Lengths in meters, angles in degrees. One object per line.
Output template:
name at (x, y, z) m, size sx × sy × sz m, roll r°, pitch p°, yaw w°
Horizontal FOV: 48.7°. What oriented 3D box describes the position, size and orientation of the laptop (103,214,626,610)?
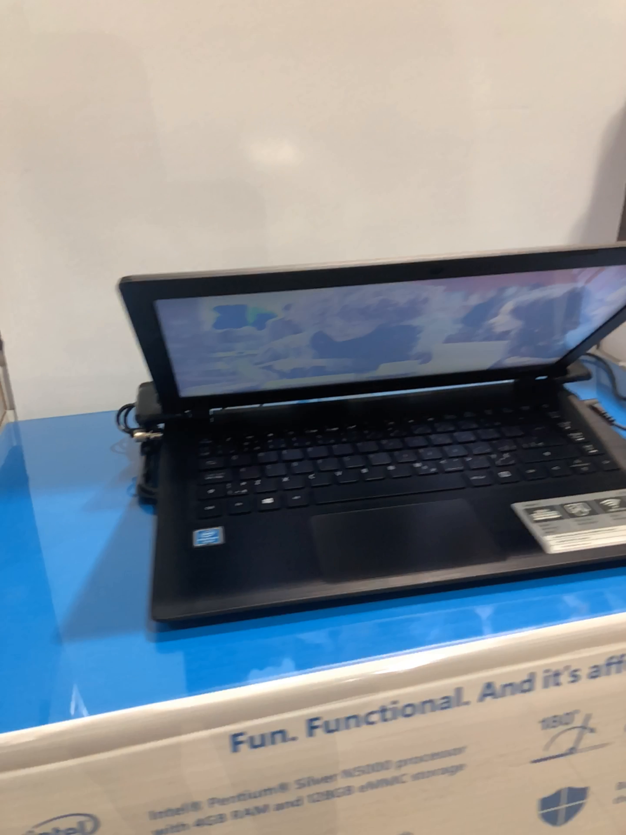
laptop at (0.056, -0.027, 0.450) m, size 0.333 × 0.145 × 0.207 m, roll -6°, pitch 26°, yaw -7°
